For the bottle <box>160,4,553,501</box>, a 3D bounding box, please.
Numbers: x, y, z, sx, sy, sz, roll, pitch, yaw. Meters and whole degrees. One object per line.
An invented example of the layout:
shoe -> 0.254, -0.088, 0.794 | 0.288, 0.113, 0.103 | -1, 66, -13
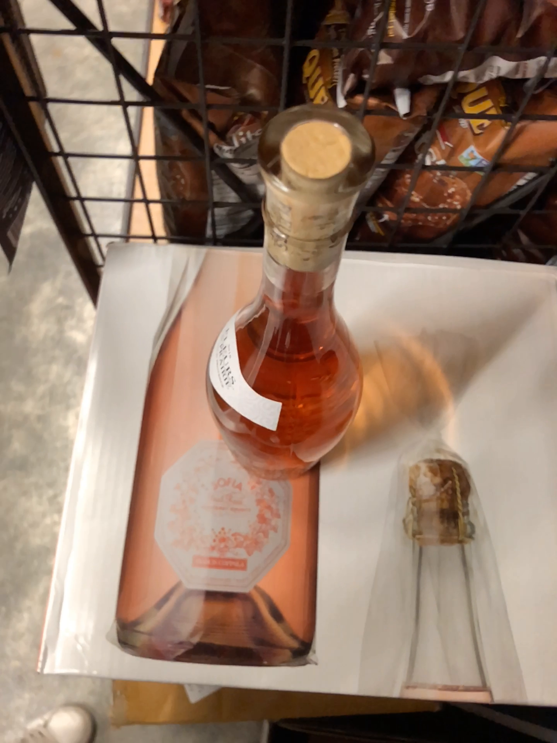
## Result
bottle -> 0.009, -0.009, 0.300 | 0.090, 0.300, 0.080 | -6, 69, -6
